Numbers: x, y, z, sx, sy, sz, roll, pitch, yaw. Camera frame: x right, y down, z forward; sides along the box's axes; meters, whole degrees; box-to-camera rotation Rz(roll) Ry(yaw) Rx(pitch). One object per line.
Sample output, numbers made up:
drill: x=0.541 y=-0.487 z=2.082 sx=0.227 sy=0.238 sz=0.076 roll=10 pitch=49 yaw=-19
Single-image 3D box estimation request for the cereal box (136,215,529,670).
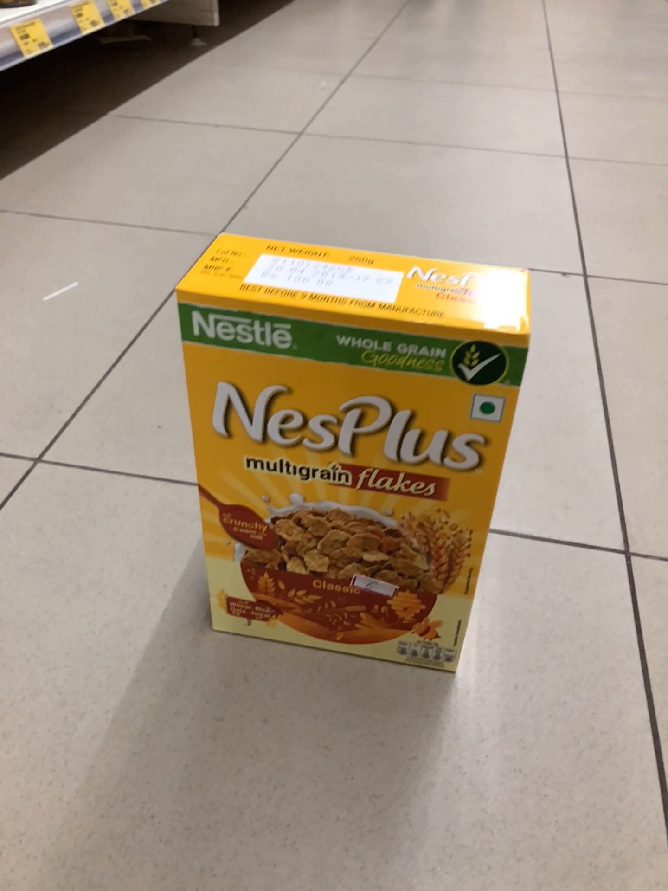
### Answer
cereal box: x=0.000 y=0.008 z=0.344 sx=0.140 sy=0.199 sz=0.060 roll=8 pitch=39 yaw=7
